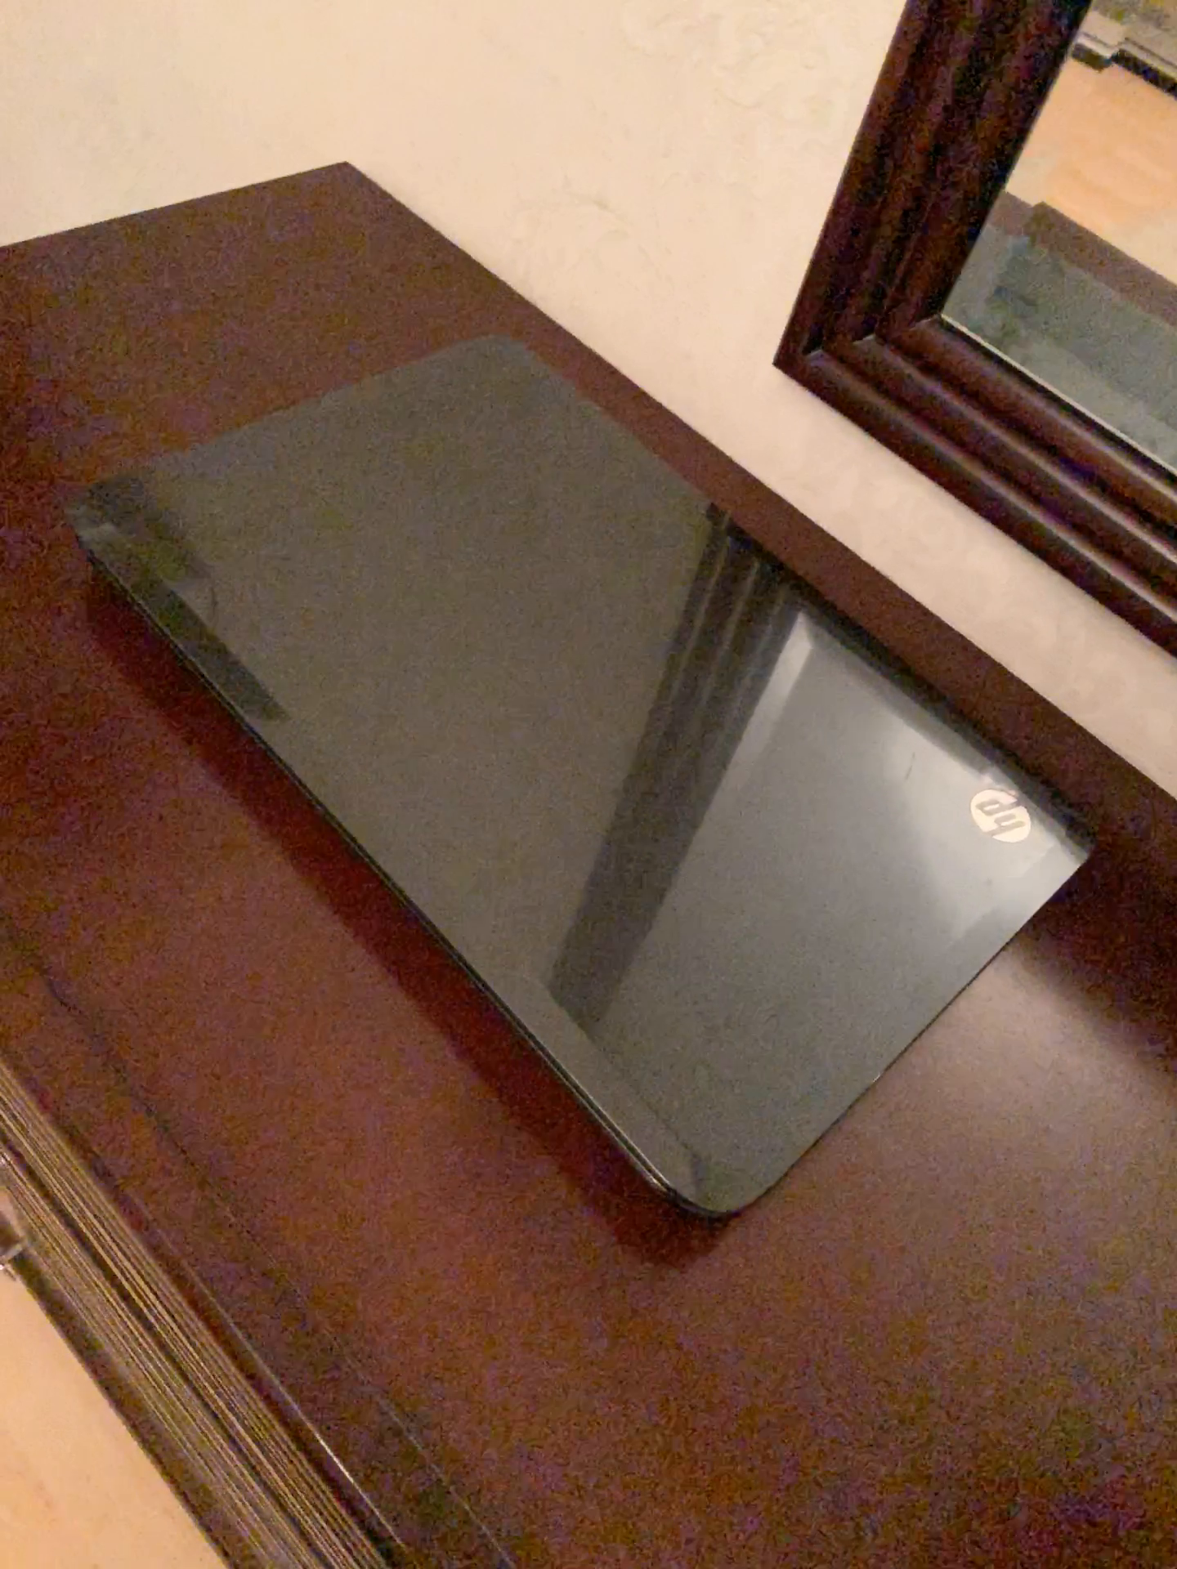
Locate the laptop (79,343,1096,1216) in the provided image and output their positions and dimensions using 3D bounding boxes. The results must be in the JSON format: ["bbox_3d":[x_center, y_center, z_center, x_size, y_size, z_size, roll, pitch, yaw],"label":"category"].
[{"bbox_3d":[0.001,-0.043,0.463,0.222,0.003,0.345,-33,68,-31],"label":"laptop"}]
